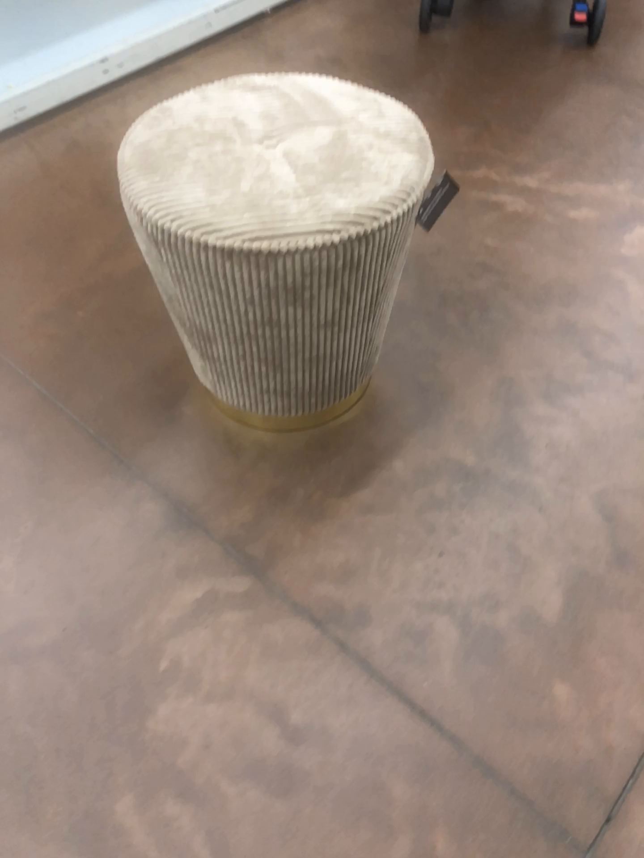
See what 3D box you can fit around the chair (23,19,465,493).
[{"bbox_3d":[-0.078,-0.275,1.124,0.420,0.479,0.451,20,55,16],"label":"chair"}]
